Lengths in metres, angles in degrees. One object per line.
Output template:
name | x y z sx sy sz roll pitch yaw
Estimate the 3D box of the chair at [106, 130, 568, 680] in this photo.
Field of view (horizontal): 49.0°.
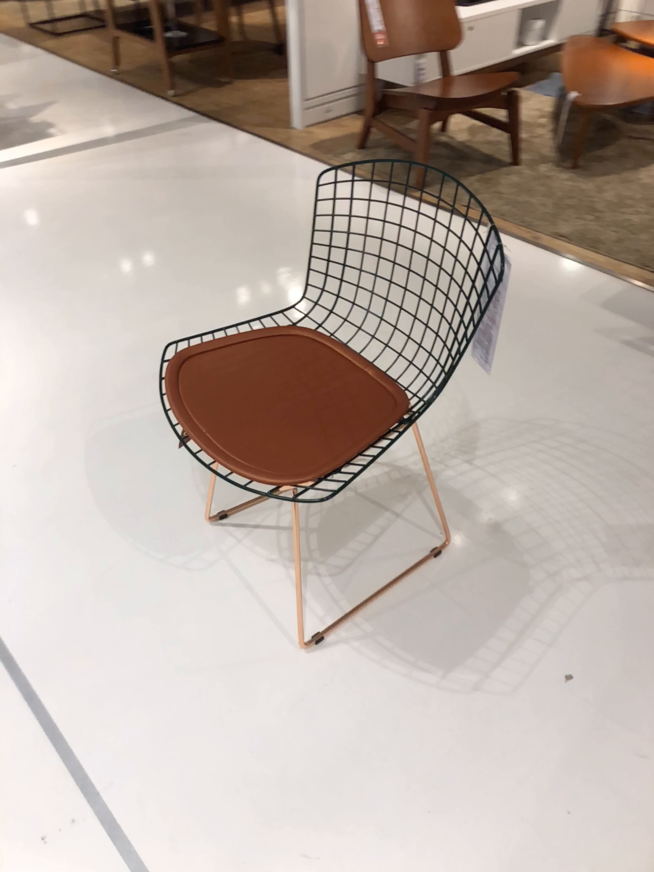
chair | 0.005 -0.067 1.303 0.501 0.724 0.493 -24 45 -24
